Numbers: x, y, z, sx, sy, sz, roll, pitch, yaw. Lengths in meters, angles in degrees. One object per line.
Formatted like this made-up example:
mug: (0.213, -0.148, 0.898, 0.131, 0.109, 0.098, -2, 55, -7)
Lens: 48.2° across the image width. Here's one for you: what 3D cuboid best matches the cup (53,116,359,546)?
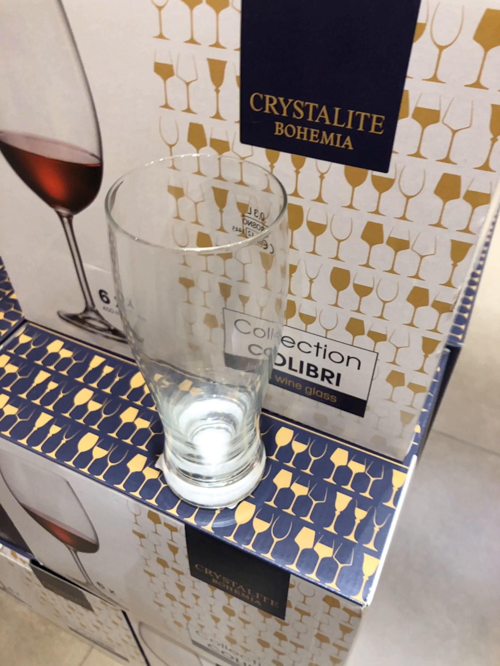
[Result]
cup: (-0.013, 0.008, 0.266, 0.080, 0.179, 0.080, 0, 44, 0)
